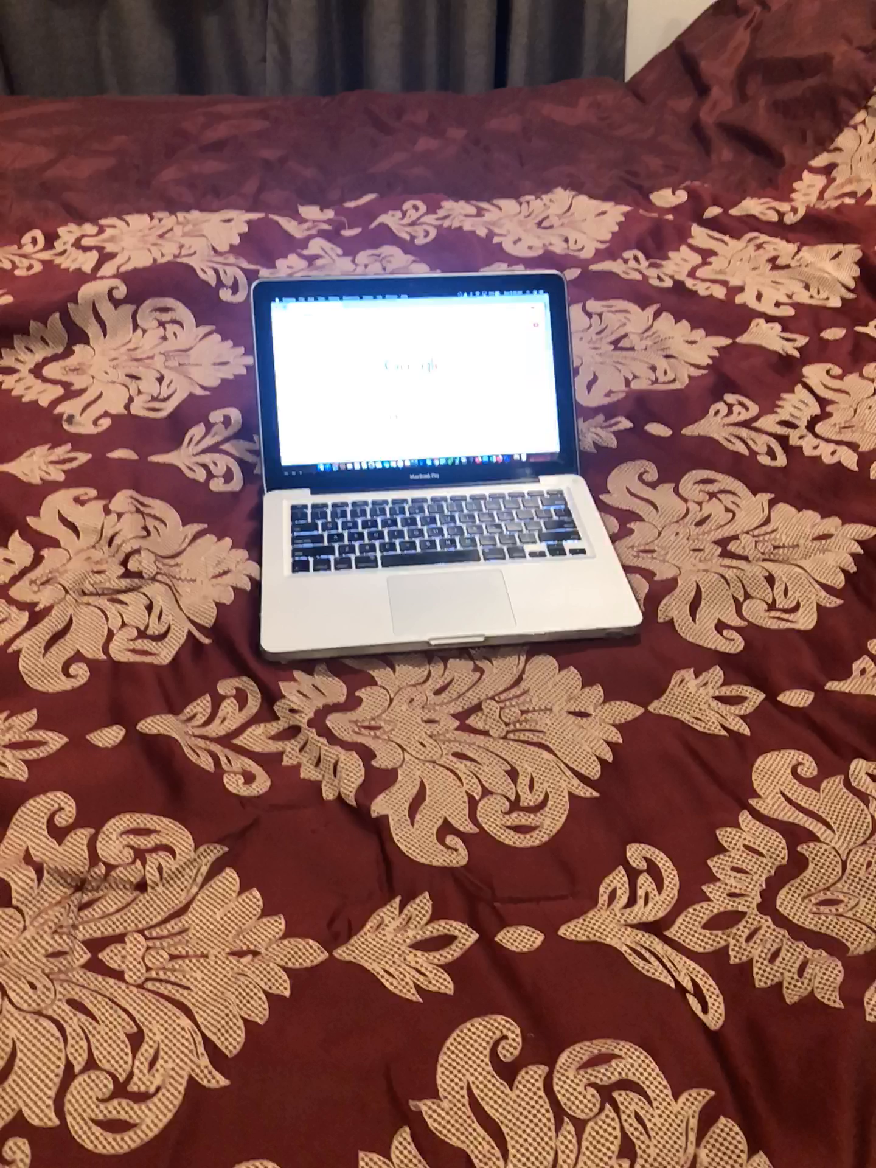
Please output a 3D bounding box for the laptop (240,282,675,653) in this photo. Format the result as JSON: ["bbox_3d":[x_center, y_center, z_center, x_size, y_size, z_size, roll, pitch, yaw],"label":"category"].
[{"bbox_3d":[-0.006,-0.118,0.816,0.292,0.133,0.344,-4,41,-6],"label":"laptop"}]
